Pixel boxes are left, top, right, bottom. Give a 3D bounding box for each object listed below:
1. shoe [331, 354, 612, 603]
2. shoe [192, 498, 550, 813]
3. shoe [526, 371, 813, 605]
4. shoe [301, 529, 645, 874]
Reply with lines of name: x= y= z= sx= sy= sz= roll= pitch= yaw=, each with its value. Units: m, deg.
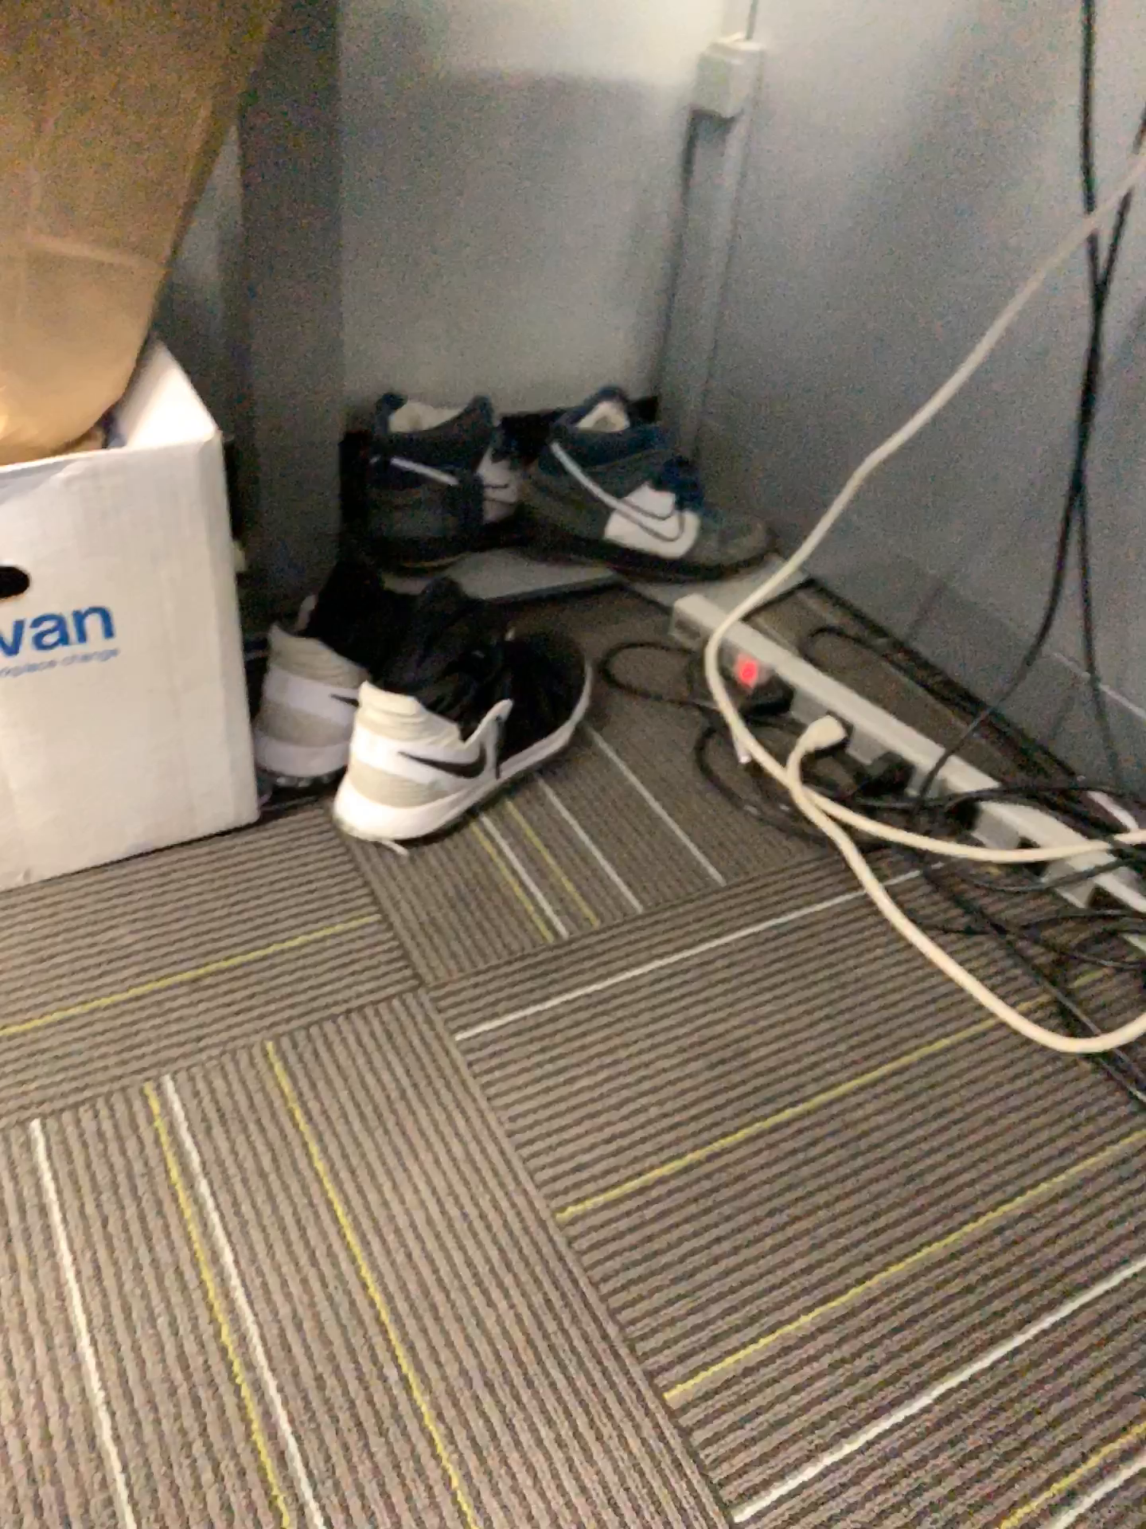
shoe: x=-0.102 y=-0.320 z=1.276 sx=0.130 sy=0.169 sz=0.331 roll=22 pitch=33 yaw=19
shoe: x=-0.157 y=-0.102 z=0.990 sx=0.100 sy=0.129 sz=0.301 roll=29 pitch=43 yaw=25
shoe: x=0.095 y=-0.296 z=1.275 sx=0.260 sy=0.159 sz=0.131 roll=9 pitch=37 yaw=-11
shoe: x=-0.070 y=-0.061 z=0.926 sx=0.100 sy=0.129 sz=0.291 roll=27 pitch=42 yaw=23
